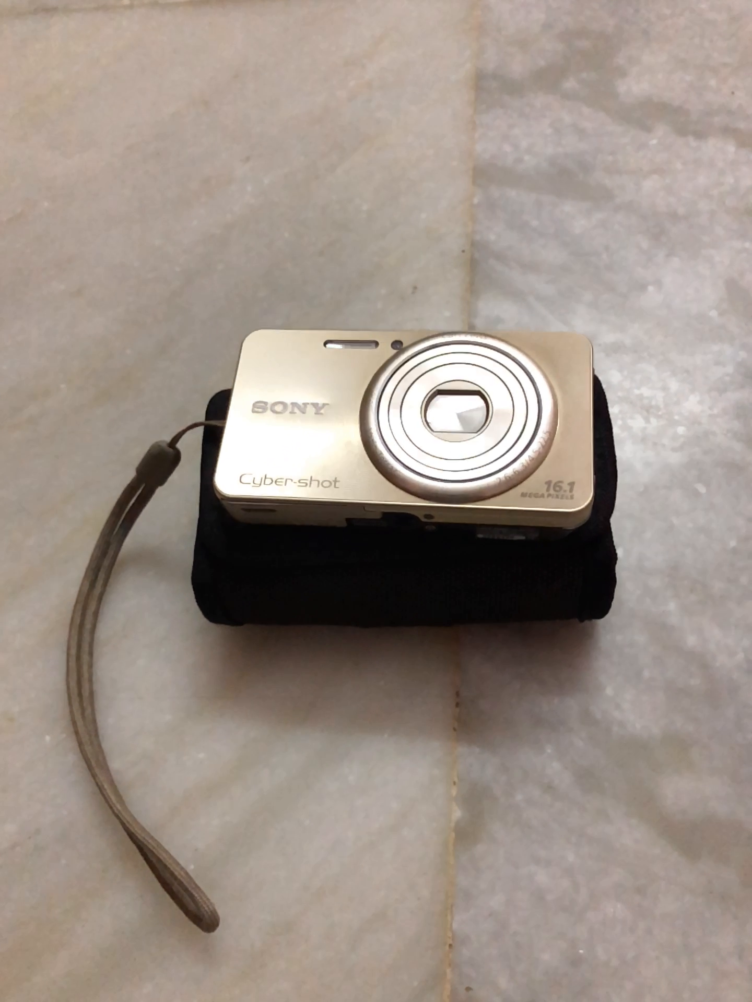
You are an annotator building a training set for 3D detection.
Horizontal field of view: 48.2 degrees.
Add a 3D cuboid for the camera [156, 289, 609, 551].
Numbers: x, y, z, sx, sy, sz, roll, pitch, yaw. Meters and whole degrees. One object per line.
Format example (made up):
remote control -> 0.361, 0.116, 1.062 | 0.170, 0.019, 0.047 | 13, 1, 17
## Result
camera -> 0.003, -0.022, 0.207 | 0.100, 0.020, 0.060 | 3, 62, 6
